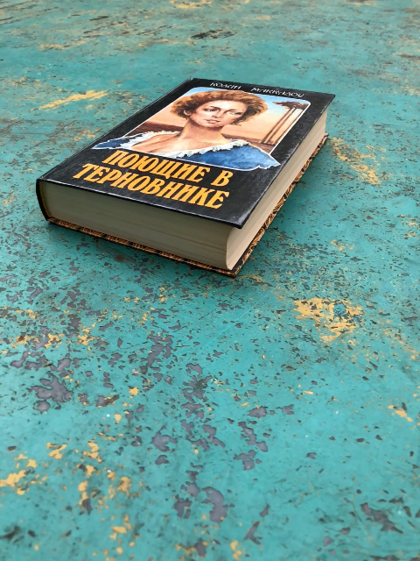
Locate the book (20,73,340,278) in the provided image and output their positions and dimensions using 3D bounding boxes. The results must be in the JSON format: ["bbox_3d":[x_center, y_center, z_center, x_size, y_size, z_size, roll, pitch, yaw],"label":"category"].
[{"bbox_3d":[-0.004,-0.093,0.331,0.138,0.032,0.209,16,43,20],"label":"book"}]
